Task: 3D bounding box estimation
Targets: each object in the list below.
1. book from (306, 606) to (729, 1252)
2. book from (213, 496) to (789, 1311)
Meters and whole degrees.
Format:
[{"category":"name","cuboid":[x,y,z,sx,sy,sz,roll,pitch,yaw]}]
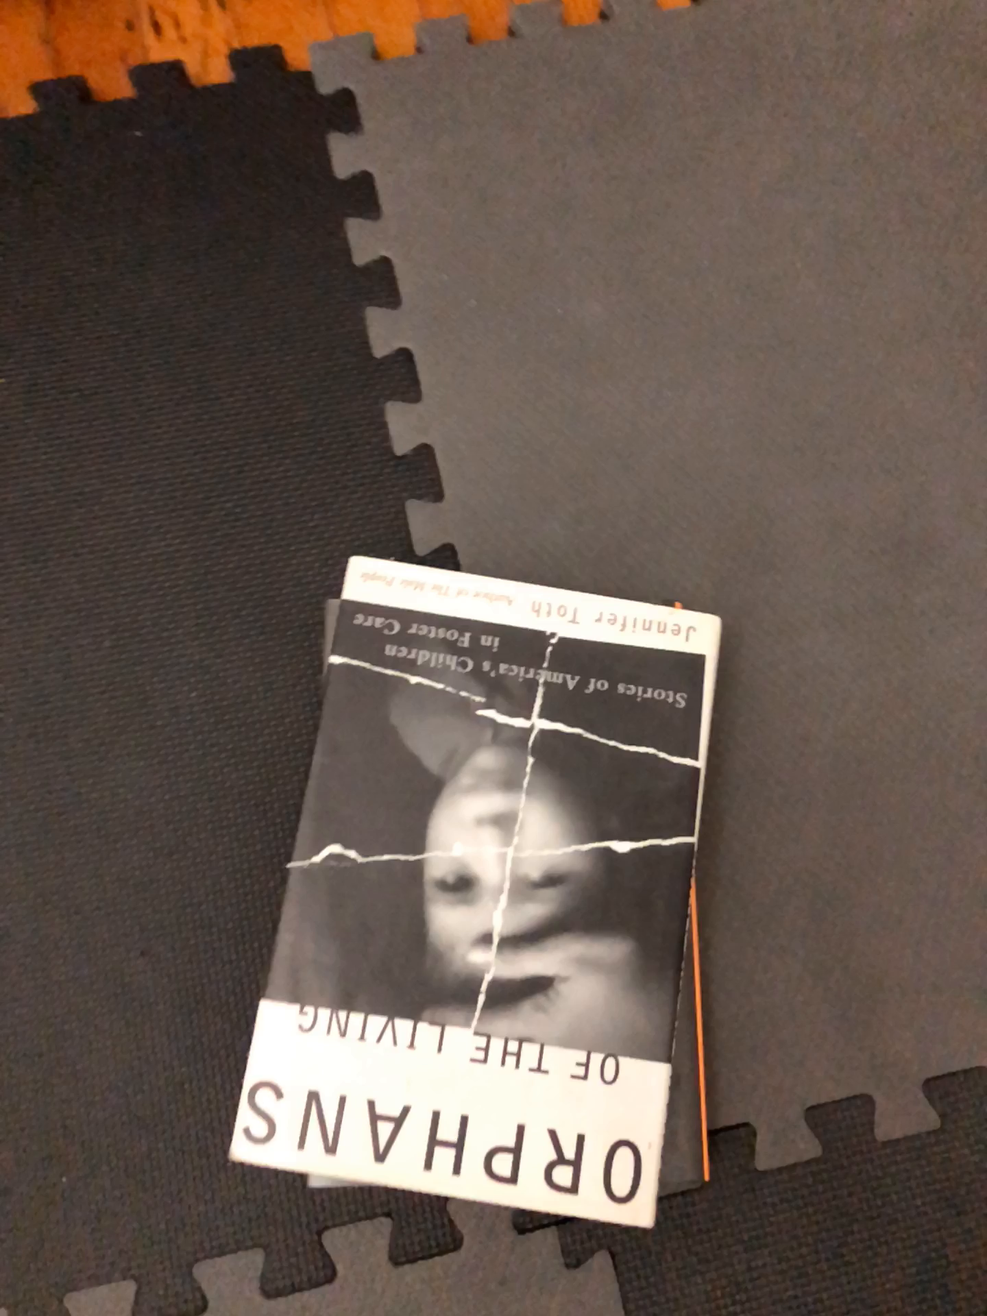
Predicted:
[{"category":"book","cuboid":[0.006,0.104,0.456,0.160,0.030,0.250,-1,76,-1]},{"category":"book","cuboid":[0.011,0.084,0.431,0.180,0.030,0.280,9,76,1]}]
